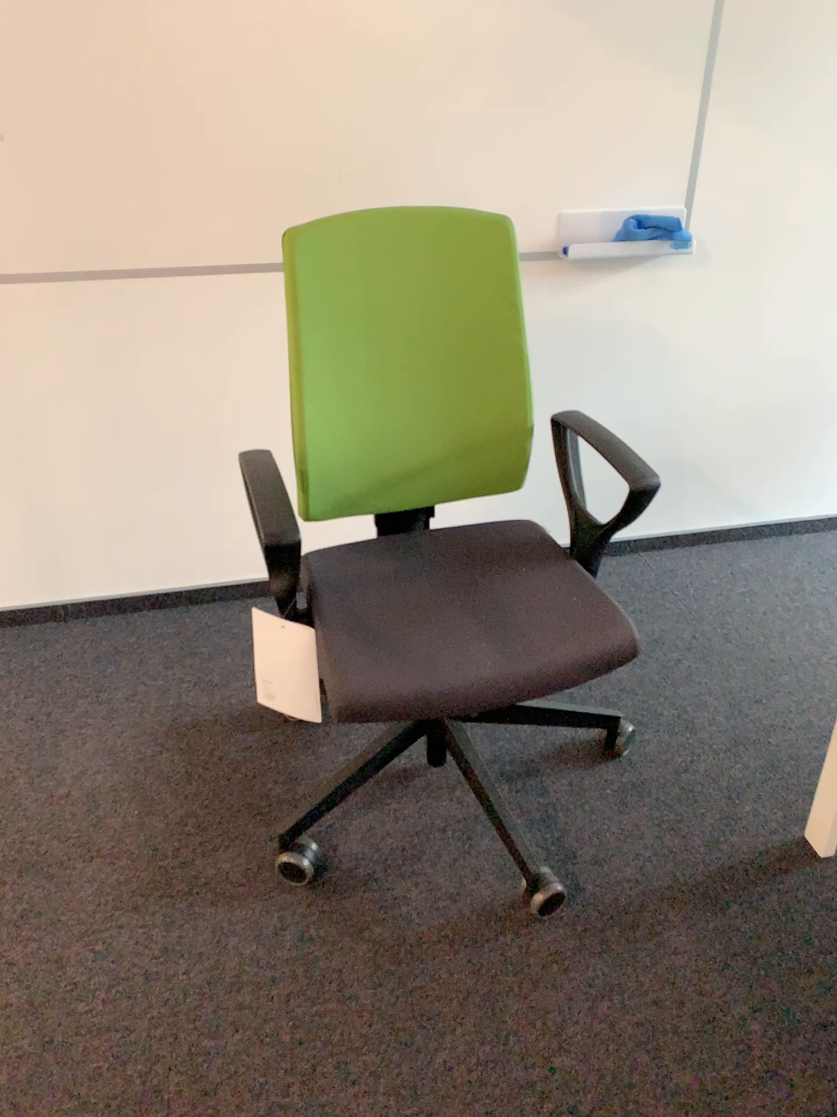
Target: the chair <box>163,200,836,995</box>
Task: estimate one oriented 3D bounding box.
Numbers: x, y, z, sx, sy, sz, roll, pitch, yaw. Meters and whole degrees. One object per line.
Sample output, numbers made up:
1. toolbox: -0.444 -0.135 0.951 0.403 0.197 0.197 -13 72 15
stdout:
1. chair: 0.063 -0.011 1.412 0.761 0.965 0.733 -9 32 -16
